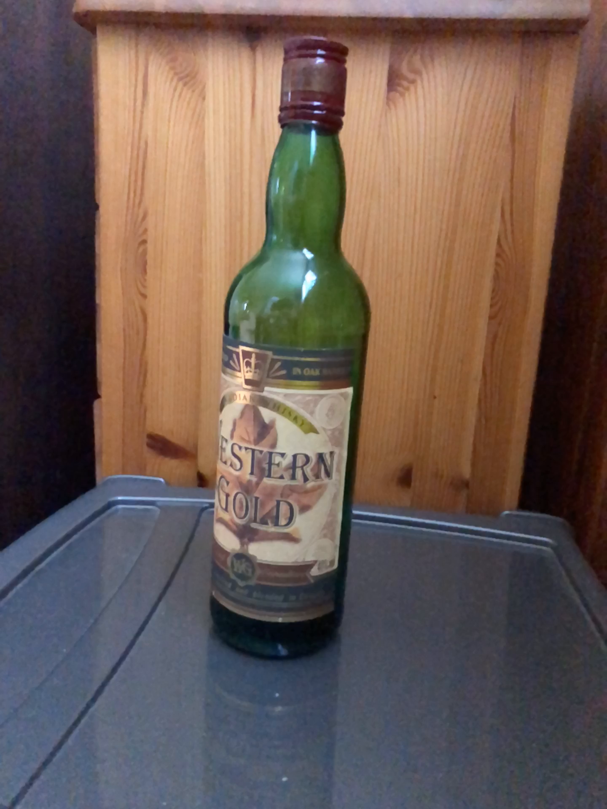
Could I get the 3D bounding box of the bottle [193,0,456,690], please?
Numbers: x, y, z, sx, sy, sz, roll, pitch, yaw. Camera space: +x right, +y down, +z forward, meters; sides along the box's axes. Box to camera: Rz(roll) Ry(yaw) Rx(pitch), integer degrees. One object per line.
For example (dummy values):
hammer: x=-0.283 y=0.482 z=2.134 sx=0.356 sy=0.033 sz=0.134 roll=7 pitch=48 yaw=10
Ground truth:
bottle: x=0.005 y=-0.023 z=0.340 sx=0.080 sy=0.299 sz=0.080 roll=4 pitch=13 yaw=-1
